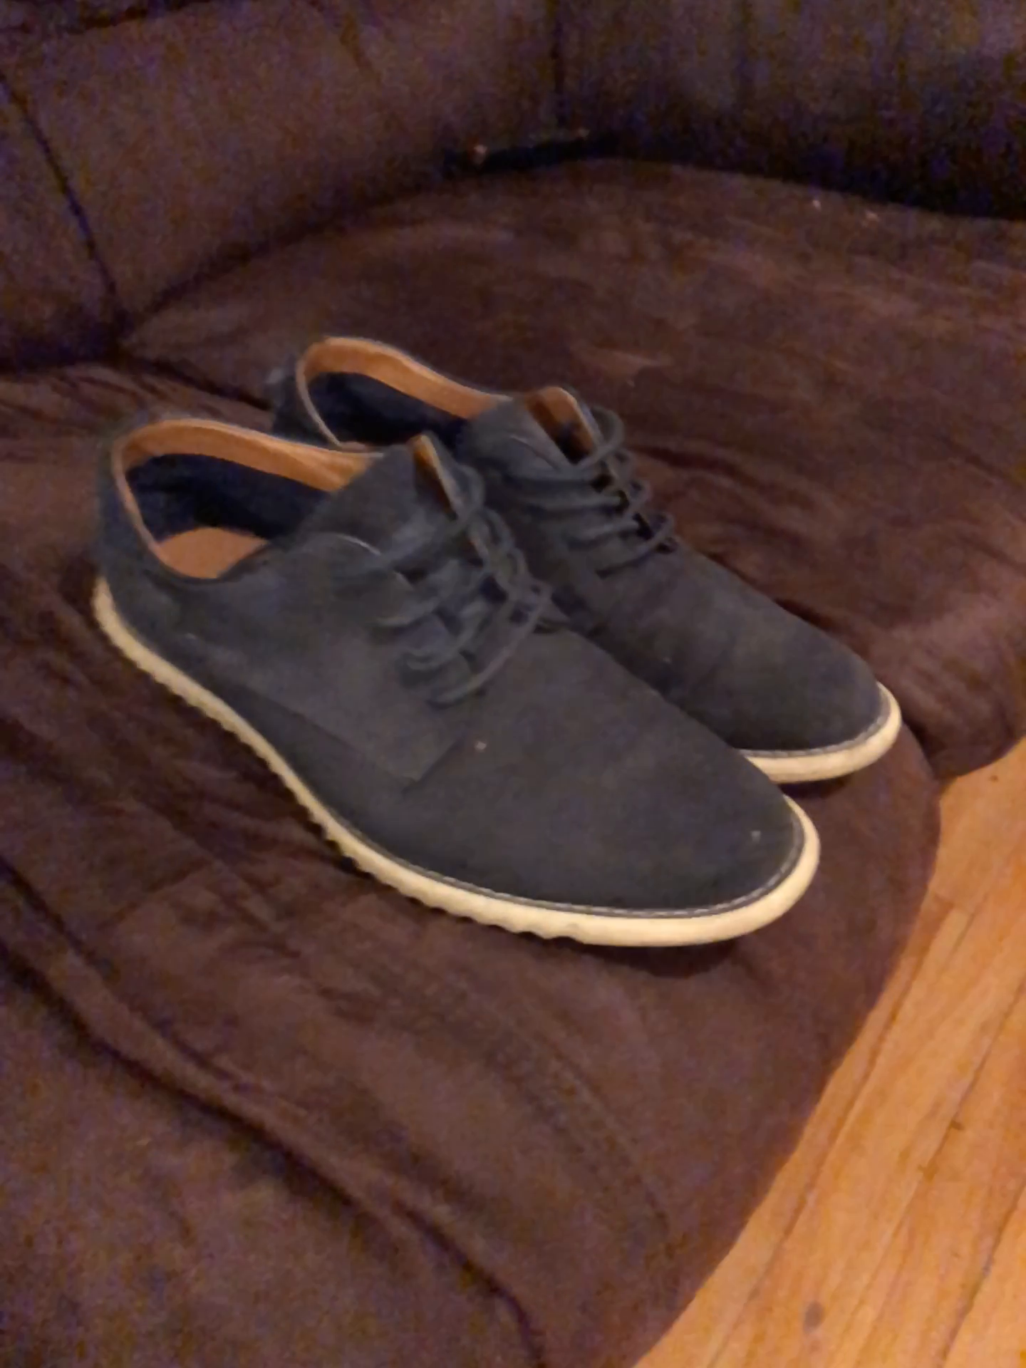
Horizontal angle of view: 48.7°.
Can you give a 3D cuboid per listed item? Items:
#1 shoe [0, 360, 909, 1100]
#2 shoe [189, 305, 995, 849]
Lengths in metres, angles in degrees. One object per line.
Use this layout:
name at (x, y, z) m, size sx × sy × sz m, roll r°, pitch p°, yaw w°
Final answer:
shoe at (-0.034, -0.005, 0.402) m, size 0.291 × 0.099 × 0.121 m, roll 27°, pitch 46°, yaw 24°
shoe at (0.023, -0.060, 0.464) m, size 0.291 × 0.079 × 0.121 m, roll 24°, pitch 45°, yaw 22°
